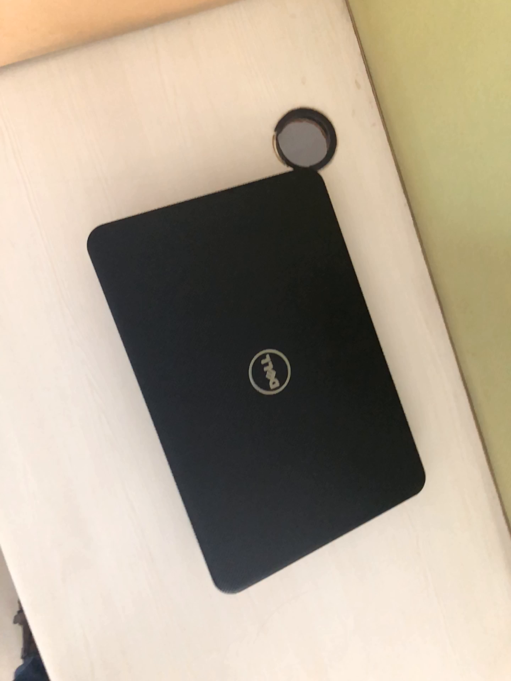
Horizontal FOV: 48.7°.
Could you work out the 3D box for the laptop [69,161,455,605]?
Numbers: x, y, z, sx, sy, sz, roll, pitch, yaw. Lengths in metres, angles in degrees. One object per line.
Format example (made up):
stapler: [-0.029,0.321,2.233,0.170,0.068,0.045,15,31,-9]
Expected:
laptop: [0.009,0.039,0.558,0.246,0.079,0.353,-20,93,-3]
